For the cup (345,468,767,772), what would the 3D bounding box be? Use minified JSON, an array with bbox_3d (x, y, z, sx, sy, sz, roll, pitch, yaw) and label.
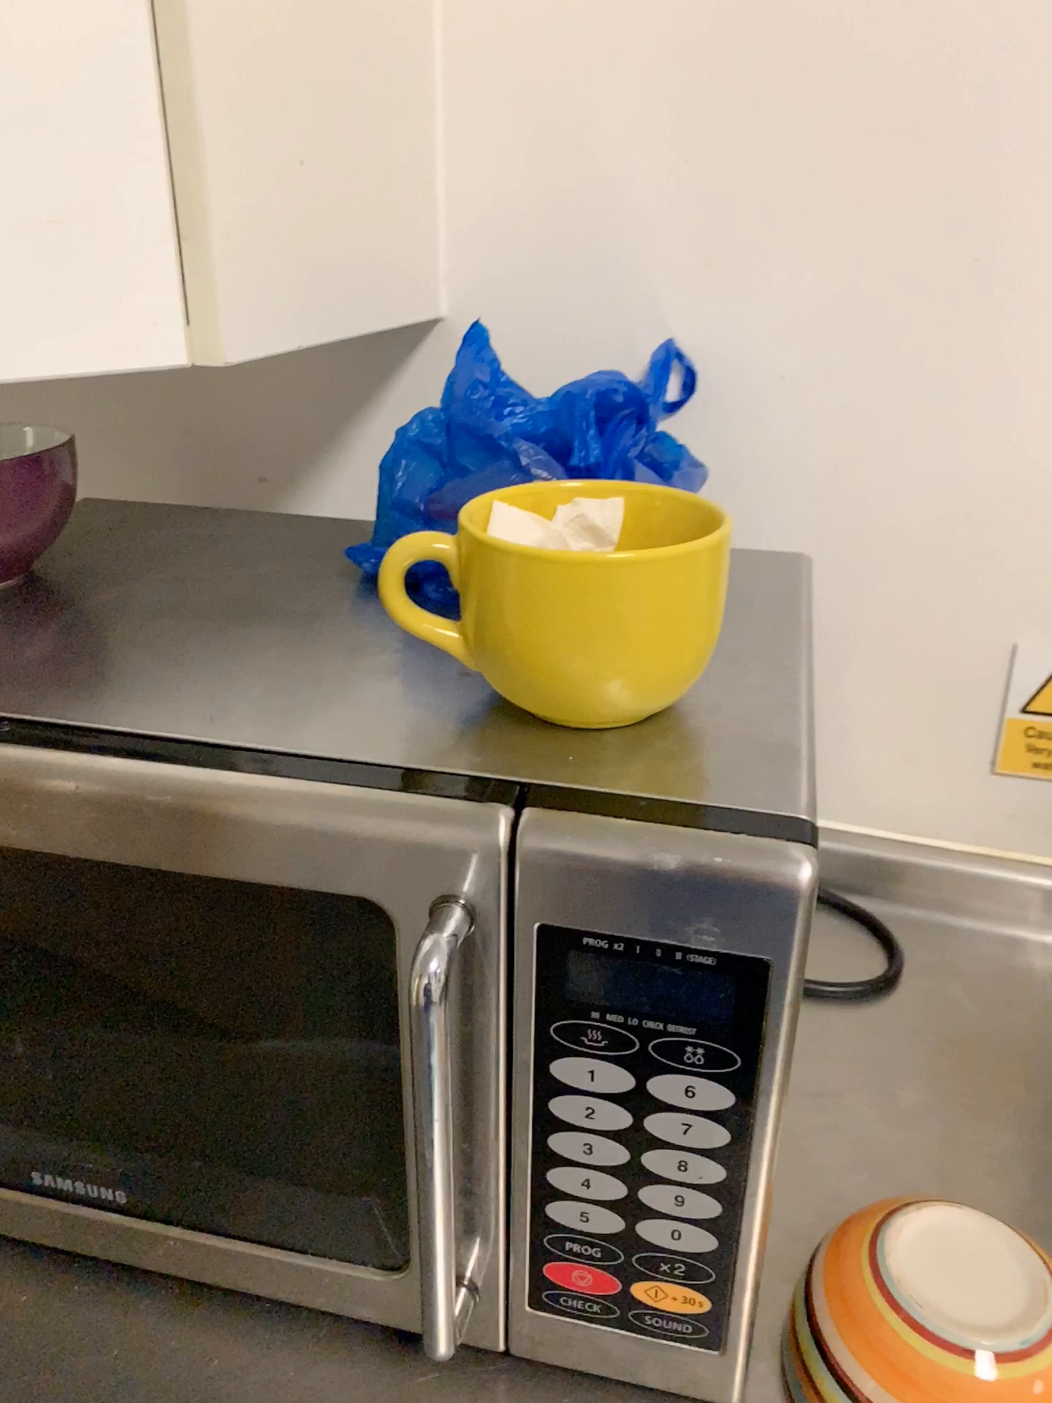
[{"bbox_3d":[0.019,-0.042,0.459,0.154,0.082,0.116,5,24,11],"label":"cup"}]
